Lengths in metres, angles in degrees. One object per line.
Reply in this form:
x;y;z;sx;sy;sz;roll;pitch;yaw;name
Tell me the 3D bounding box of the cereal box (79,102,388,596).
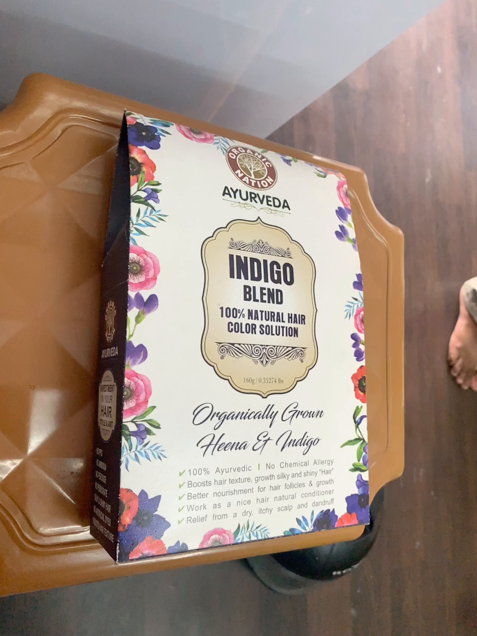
0.000;0.015;0.263;0.140;0.070;0.200;5;81;-28;cereal box
